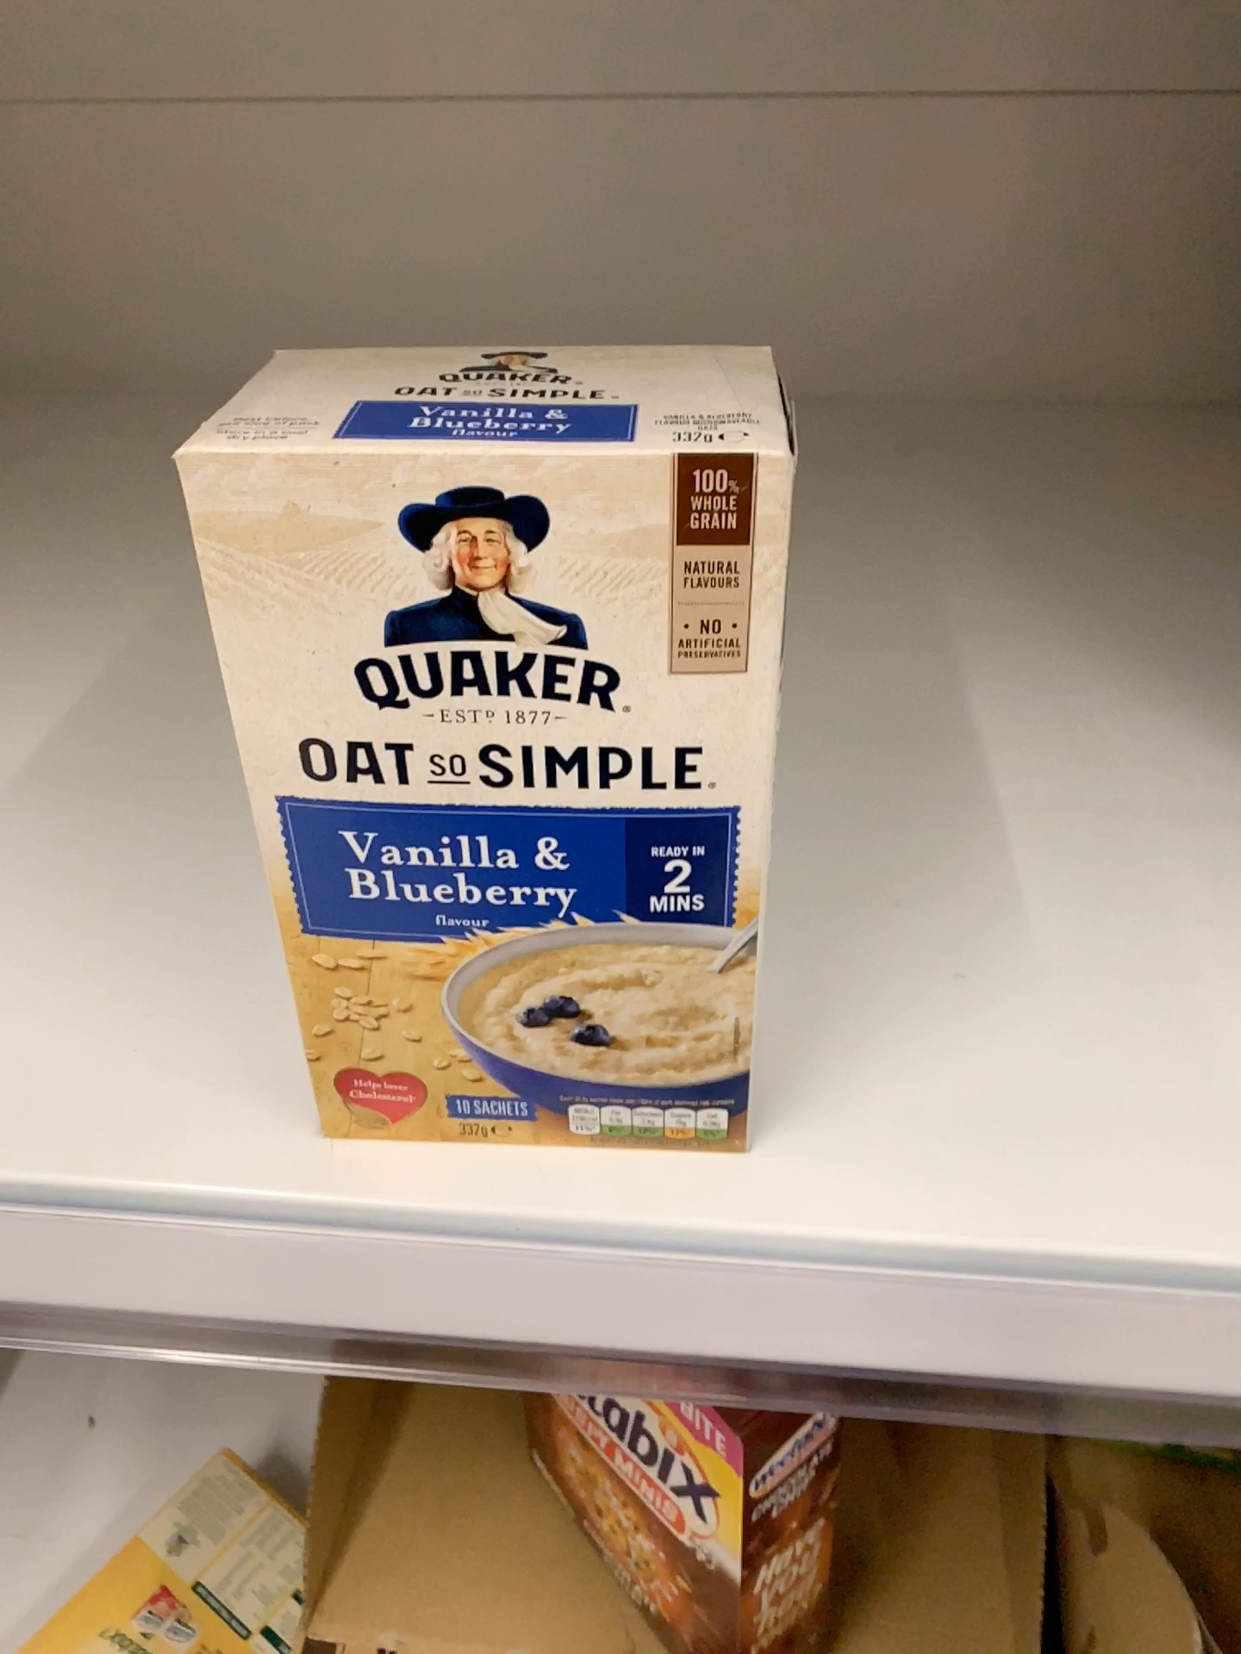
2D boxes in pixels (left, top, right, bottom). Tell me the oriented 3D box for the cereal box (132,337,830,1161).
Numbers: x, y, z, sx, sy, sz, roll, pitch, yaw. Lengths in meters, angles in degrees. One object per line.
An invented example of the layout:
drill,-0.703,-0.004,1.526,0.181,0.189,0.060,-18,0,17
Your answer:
cereal box,-0.025,-0.014,0.347,0.140,0.208,0.081,1,35,3
